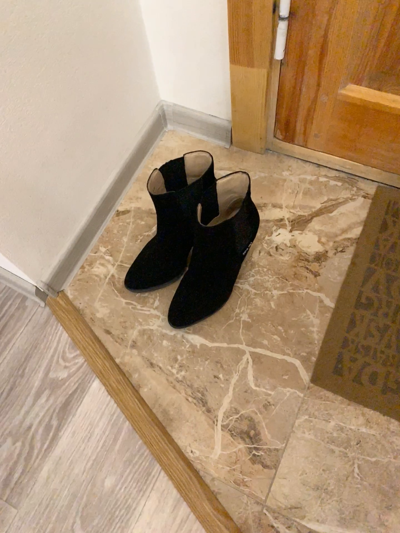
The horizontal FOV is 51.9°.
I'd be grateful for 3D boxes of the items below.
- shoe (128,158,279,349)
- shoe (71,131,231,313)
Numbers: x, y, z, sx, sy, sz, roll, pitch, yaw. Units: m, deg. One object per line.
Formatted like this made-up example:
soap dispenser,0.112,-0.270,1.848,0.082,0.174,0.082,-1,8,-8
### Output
shoe,0.017,-0.009,0.626,0.086,0.199,0.214,33,72,19
shoe,-0.058,-0.060,0.653,0.214,0.199,0.087,-42,67,-14
